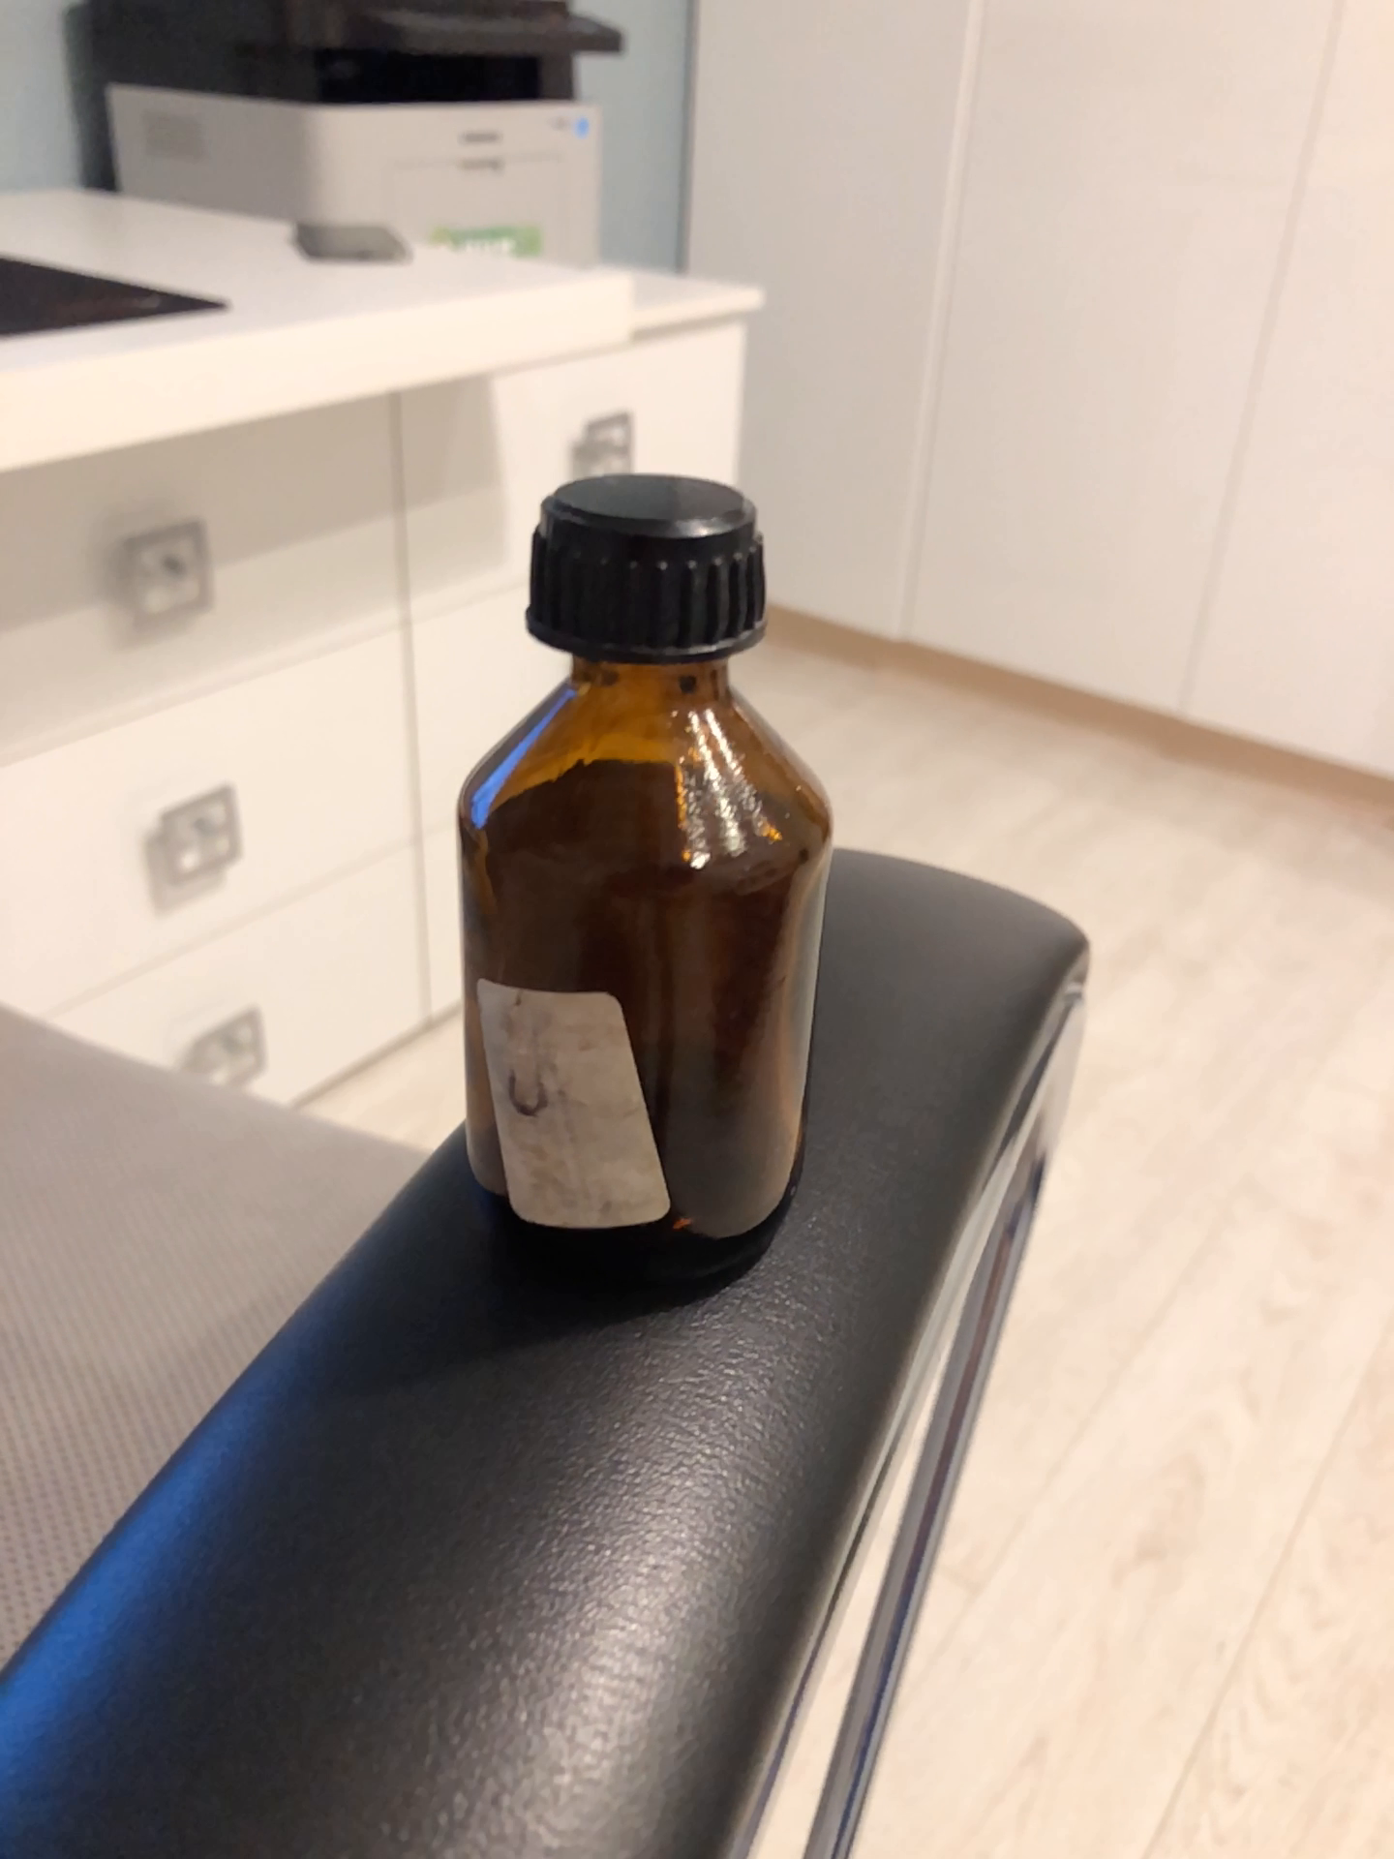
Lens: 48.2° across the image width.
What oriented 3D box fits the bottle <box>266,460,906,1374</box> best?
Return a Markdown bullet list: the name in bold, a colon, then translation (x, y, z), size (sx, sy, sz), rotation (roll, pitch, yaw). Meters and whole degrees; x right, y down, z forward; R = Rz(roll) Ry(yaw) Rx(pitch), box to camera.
- **bottle**: translation (-0.011, -0.003, 0.179), size (0.050, 0.083, 0.050), rotation (3, 30, -2)
